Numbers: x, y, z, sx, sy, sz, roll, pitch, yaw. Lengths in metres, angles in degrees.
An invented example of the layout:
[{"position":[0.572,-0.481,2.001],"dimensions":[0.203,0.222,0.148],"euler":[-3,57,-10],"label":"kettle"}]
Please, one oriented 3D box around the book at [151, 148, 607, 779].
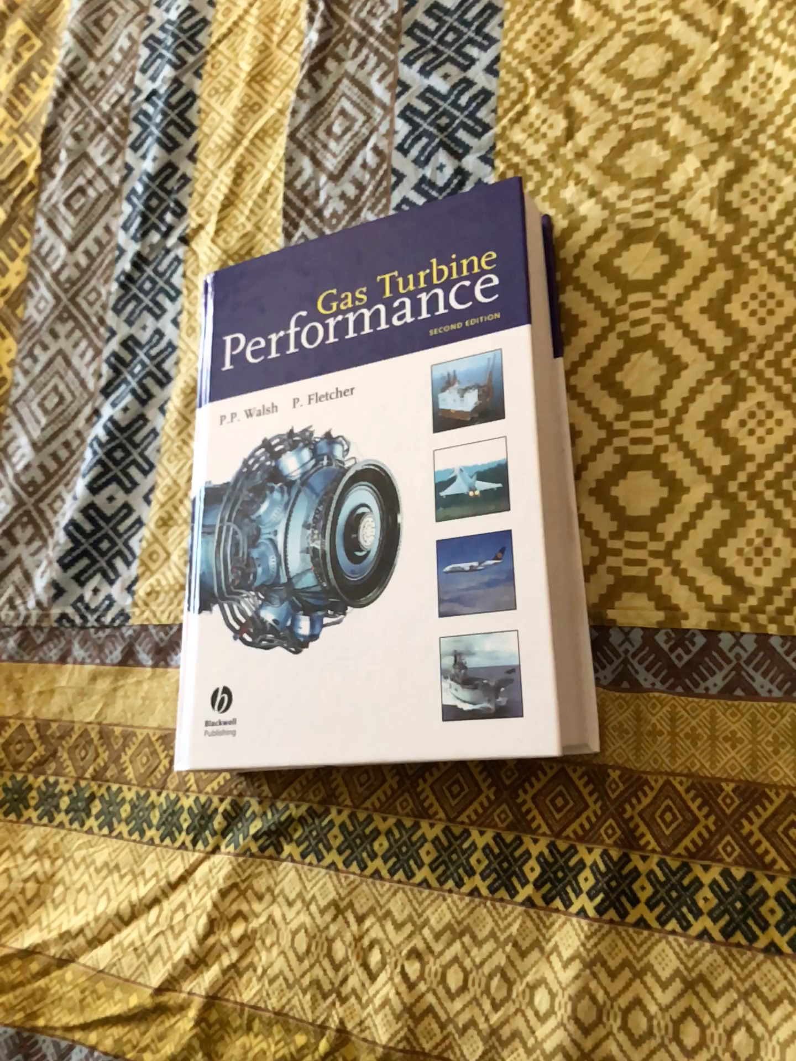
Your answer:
[{"position":[-0.014,-0.025,0.429],"dimensions":[0.193,0.060,0.272],"euler":[-9,70,23],"label":"book"}]
